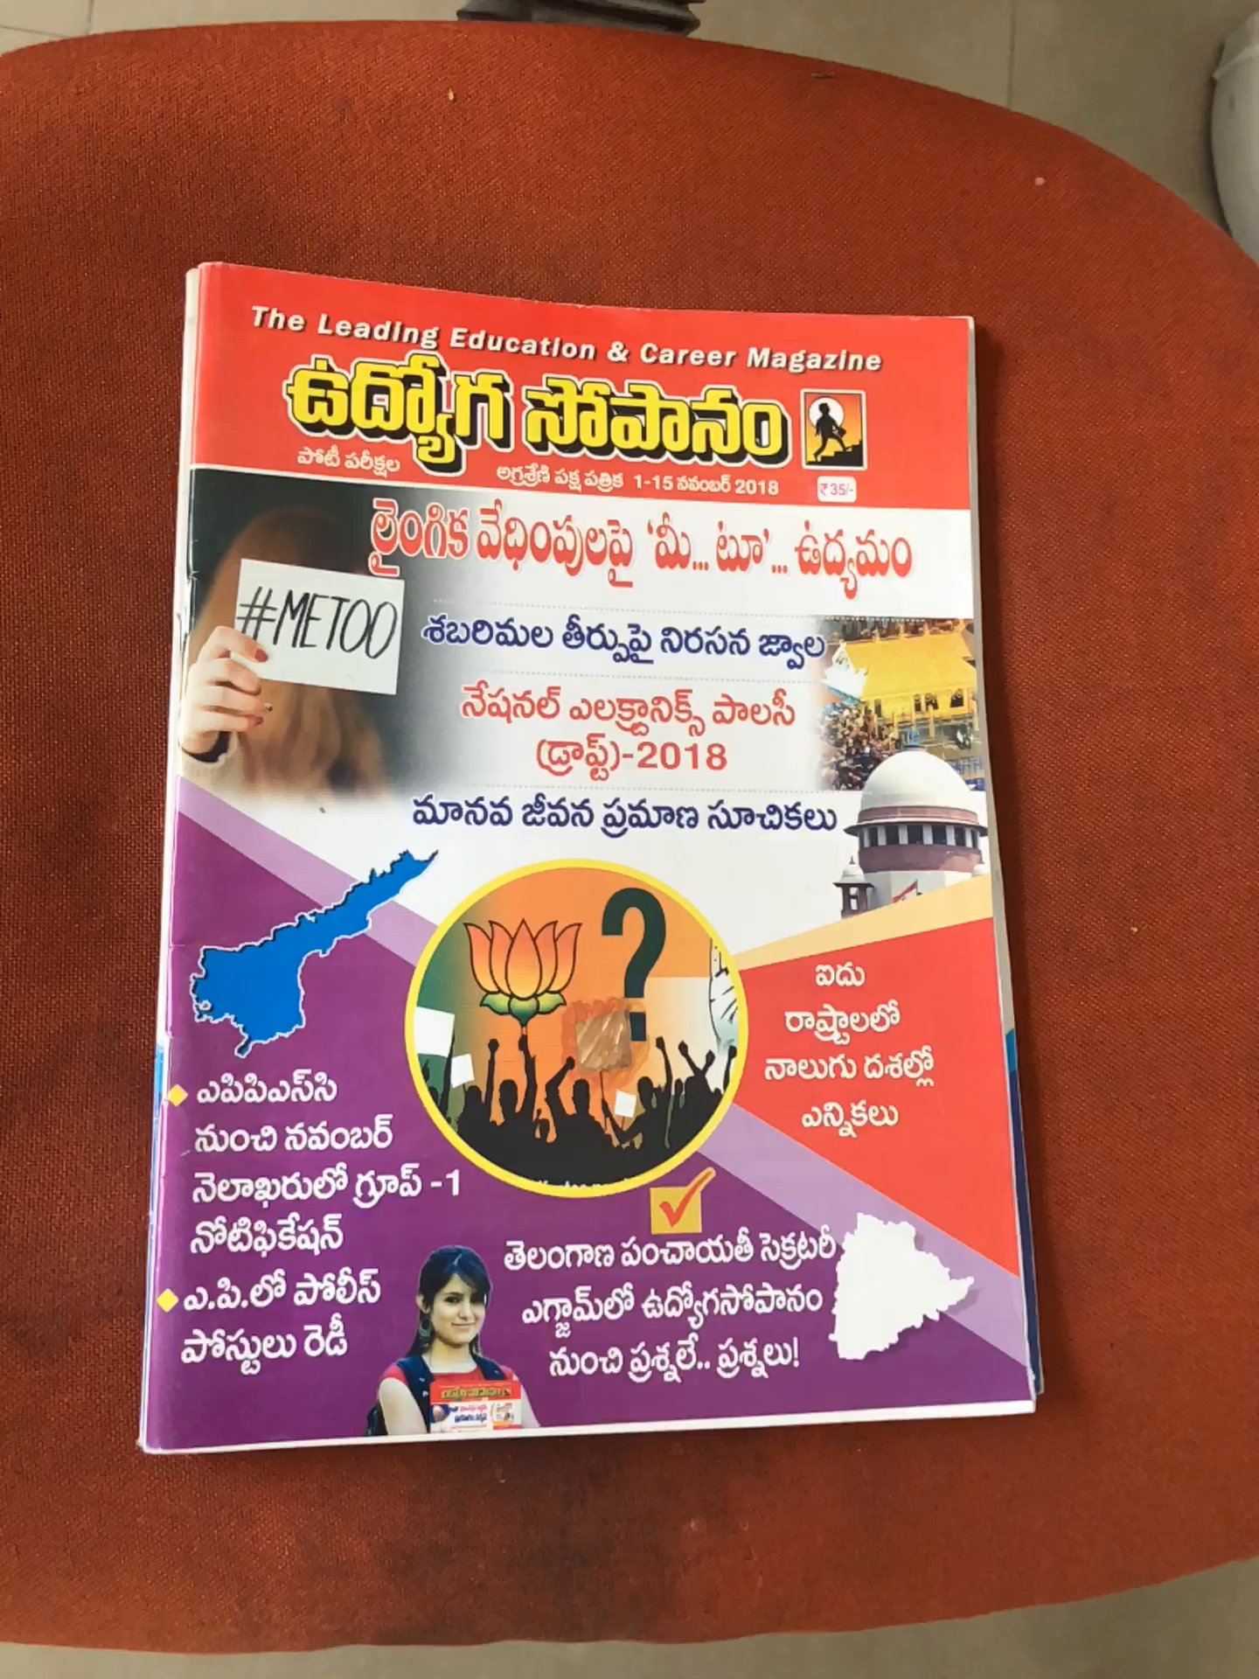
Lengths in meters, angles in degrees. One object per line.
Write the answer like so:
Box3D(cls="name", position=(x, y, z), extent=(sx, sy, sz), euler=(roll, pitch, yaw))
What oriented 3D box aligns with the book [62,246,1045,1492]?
Box3D(cls="book", position=(-0.017, -0.001, 0.356), extent=(0.217, 0.040, 0.295), euler=(0, 79, -6))
